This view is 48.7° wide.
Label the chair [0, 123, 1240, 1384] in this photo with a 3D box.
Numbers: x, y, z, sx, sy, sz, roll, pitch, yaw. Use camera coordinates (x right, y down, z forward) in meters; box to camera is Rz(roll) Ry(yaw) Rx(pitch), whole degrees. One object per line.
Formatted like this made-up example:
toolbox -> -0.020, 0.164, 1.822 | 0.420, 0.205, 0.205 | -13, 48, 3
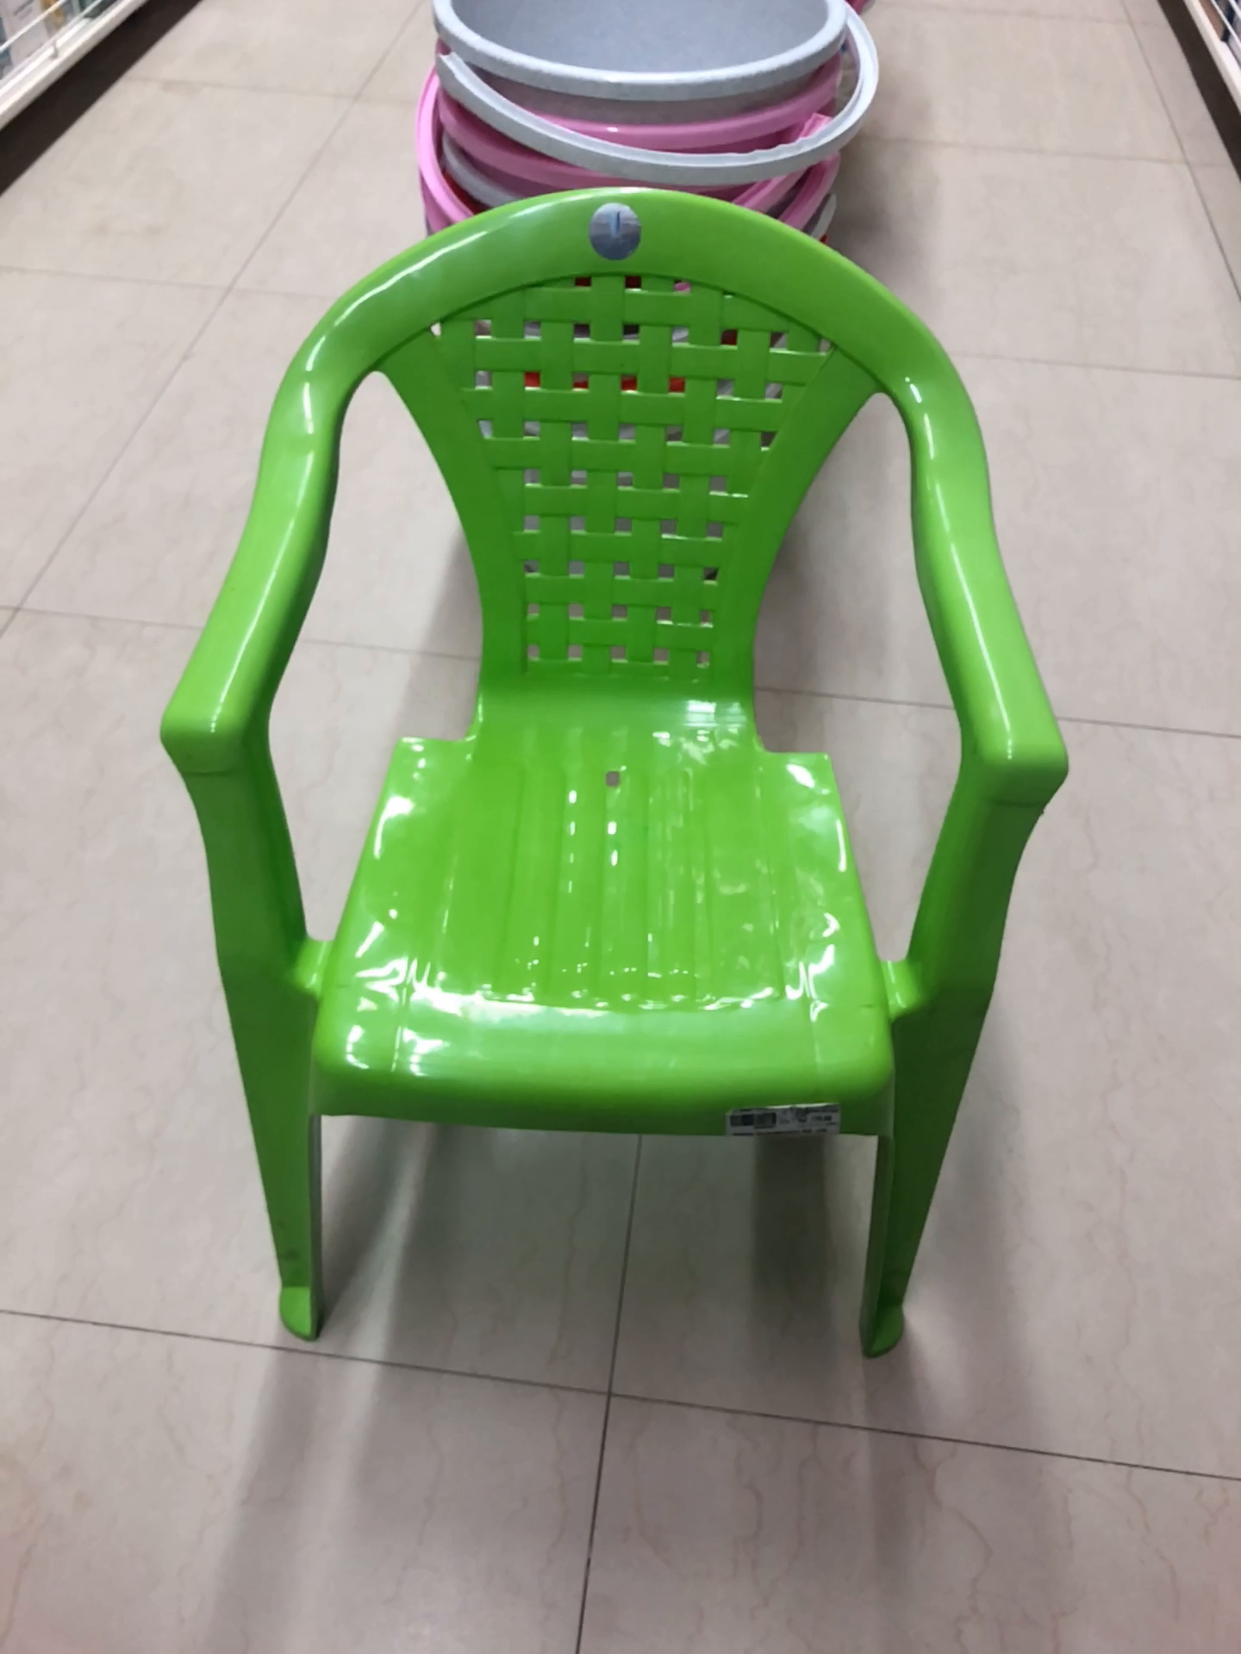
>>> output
chair -> -0.001, 0.004, 0.657 | 0.360, 0.517, 0.312 | 3, 48, 0
